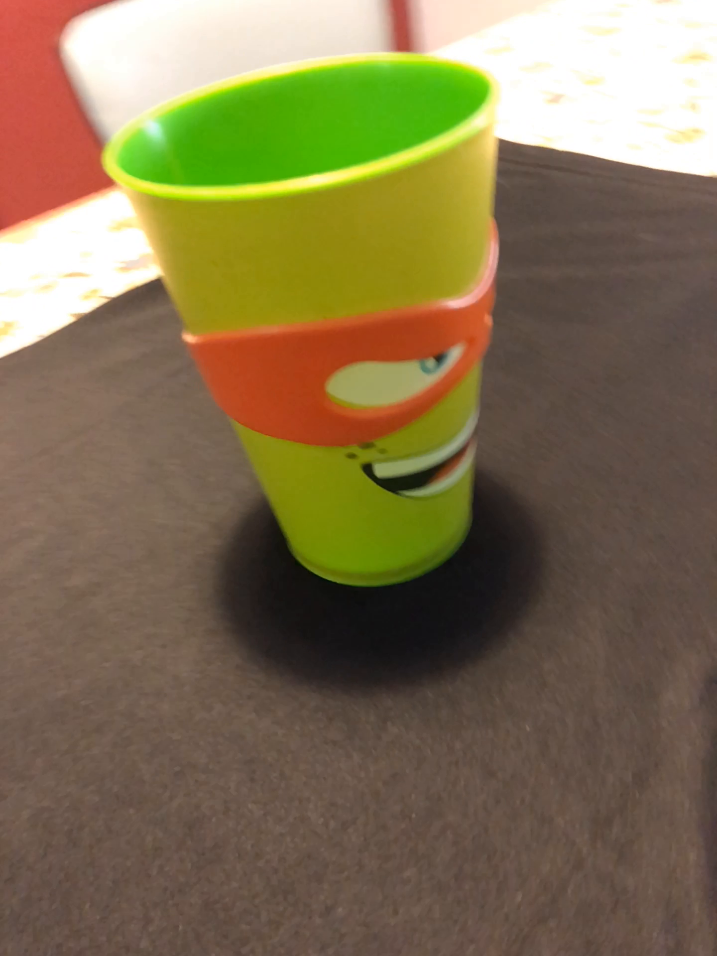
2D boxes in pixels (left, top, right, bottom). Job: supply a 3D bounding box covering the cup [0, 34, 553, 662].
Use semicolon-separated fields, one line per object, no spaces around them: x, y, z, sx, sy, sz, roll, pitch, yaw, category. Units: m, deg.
-0.008;-0.039;0.241;0.110;0.139;0.101;-7;40;6;cup
